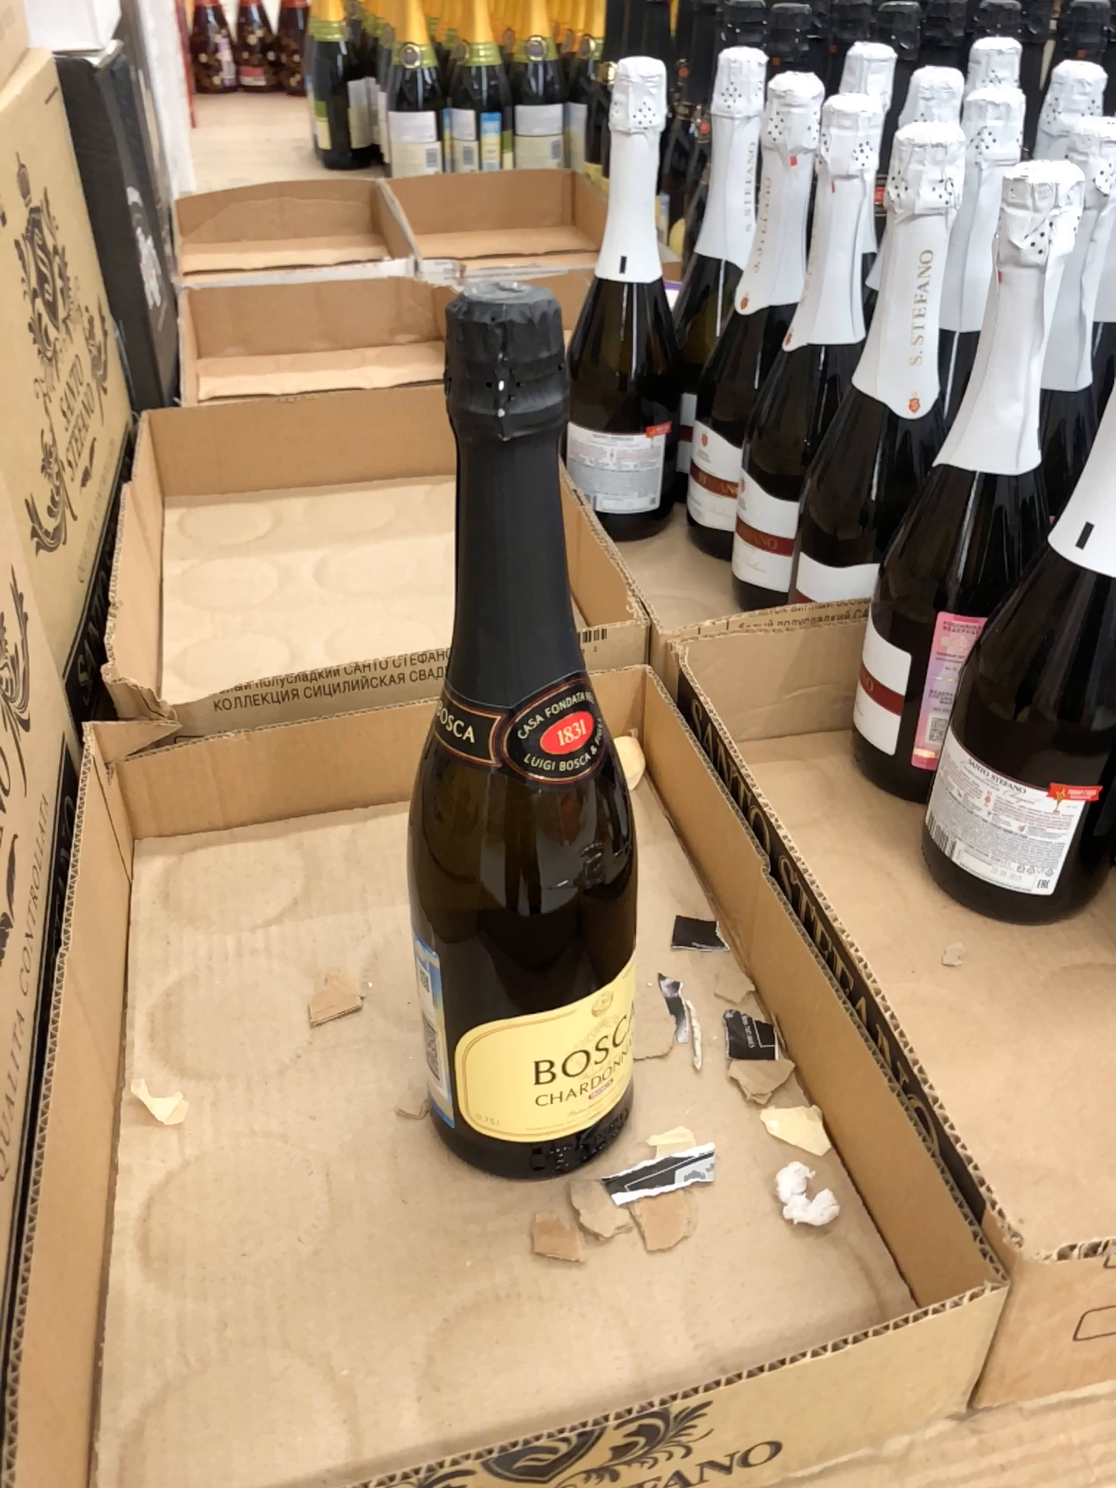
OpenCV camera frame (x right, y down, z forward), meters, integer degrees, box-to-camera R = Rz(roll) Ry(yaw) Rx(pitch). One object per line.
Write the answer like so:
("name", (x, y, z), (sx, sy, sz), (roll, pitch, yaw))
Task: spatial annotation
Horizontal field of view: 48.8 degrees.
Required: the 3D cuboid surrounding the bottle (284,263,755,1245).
("bottle", (-0.010, 0.019, 0.401), (0.090, 0.308, 0.080), (-25, 42, -31))
